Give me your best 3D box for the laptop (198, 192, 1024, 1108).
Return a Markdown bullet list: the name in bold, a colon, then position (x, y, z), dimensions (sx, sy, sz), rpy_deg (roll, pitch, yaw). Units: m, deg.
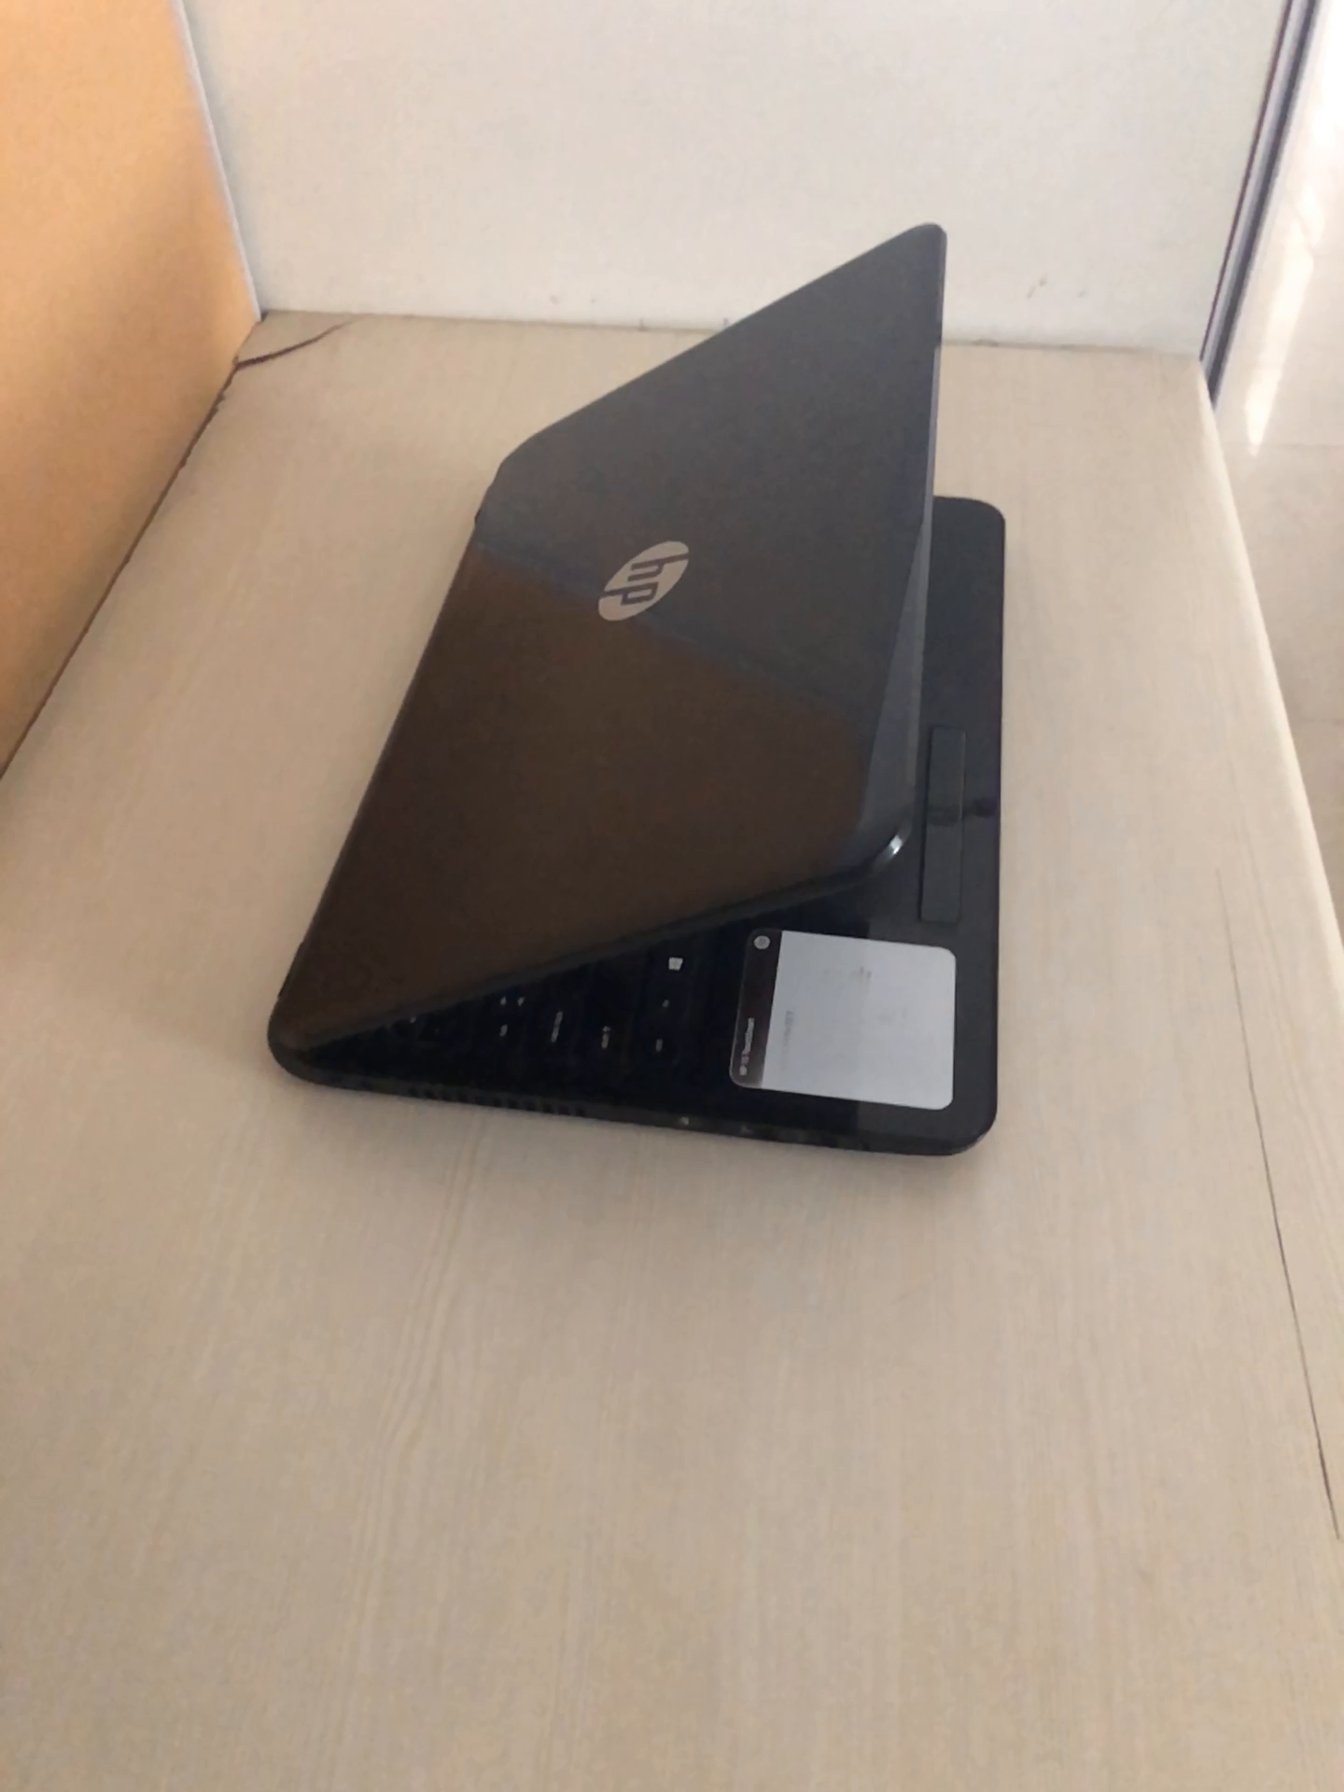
- **laptop**: position (0.008, -0.117, 0.567), dimensions (0.223, 0.131, 0.354), rpy_deg (6, 50, 6)
